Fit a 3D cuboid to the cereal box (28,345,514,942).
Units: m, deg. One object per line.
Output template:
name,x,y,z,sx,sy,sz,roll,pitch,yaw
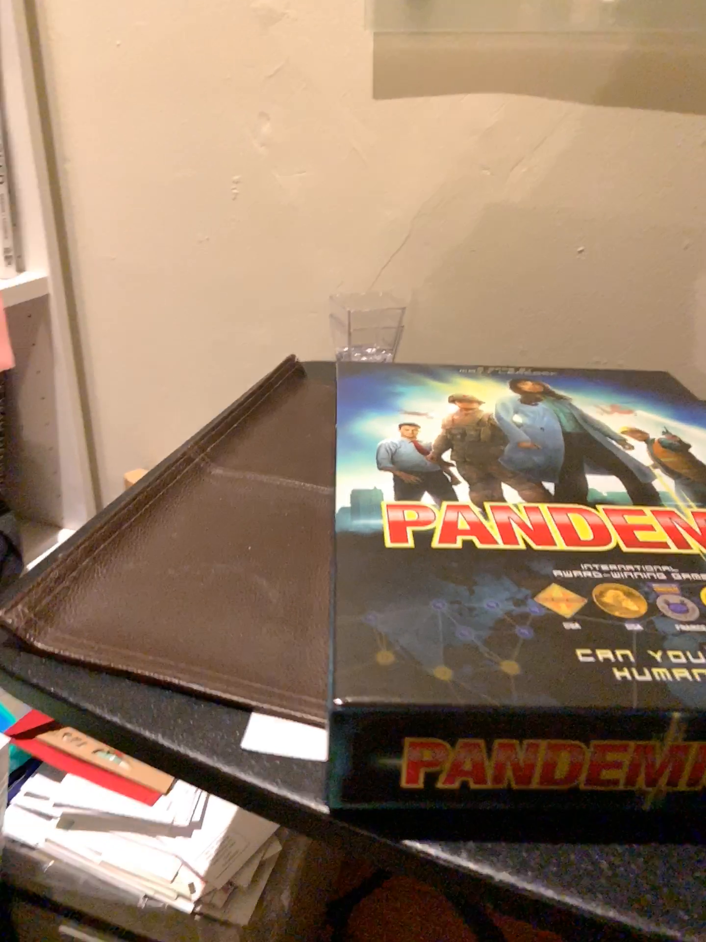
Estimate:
cereal box,-0.145,0.379,1.197,0.470,0.994,0.513,-15,31,-28
